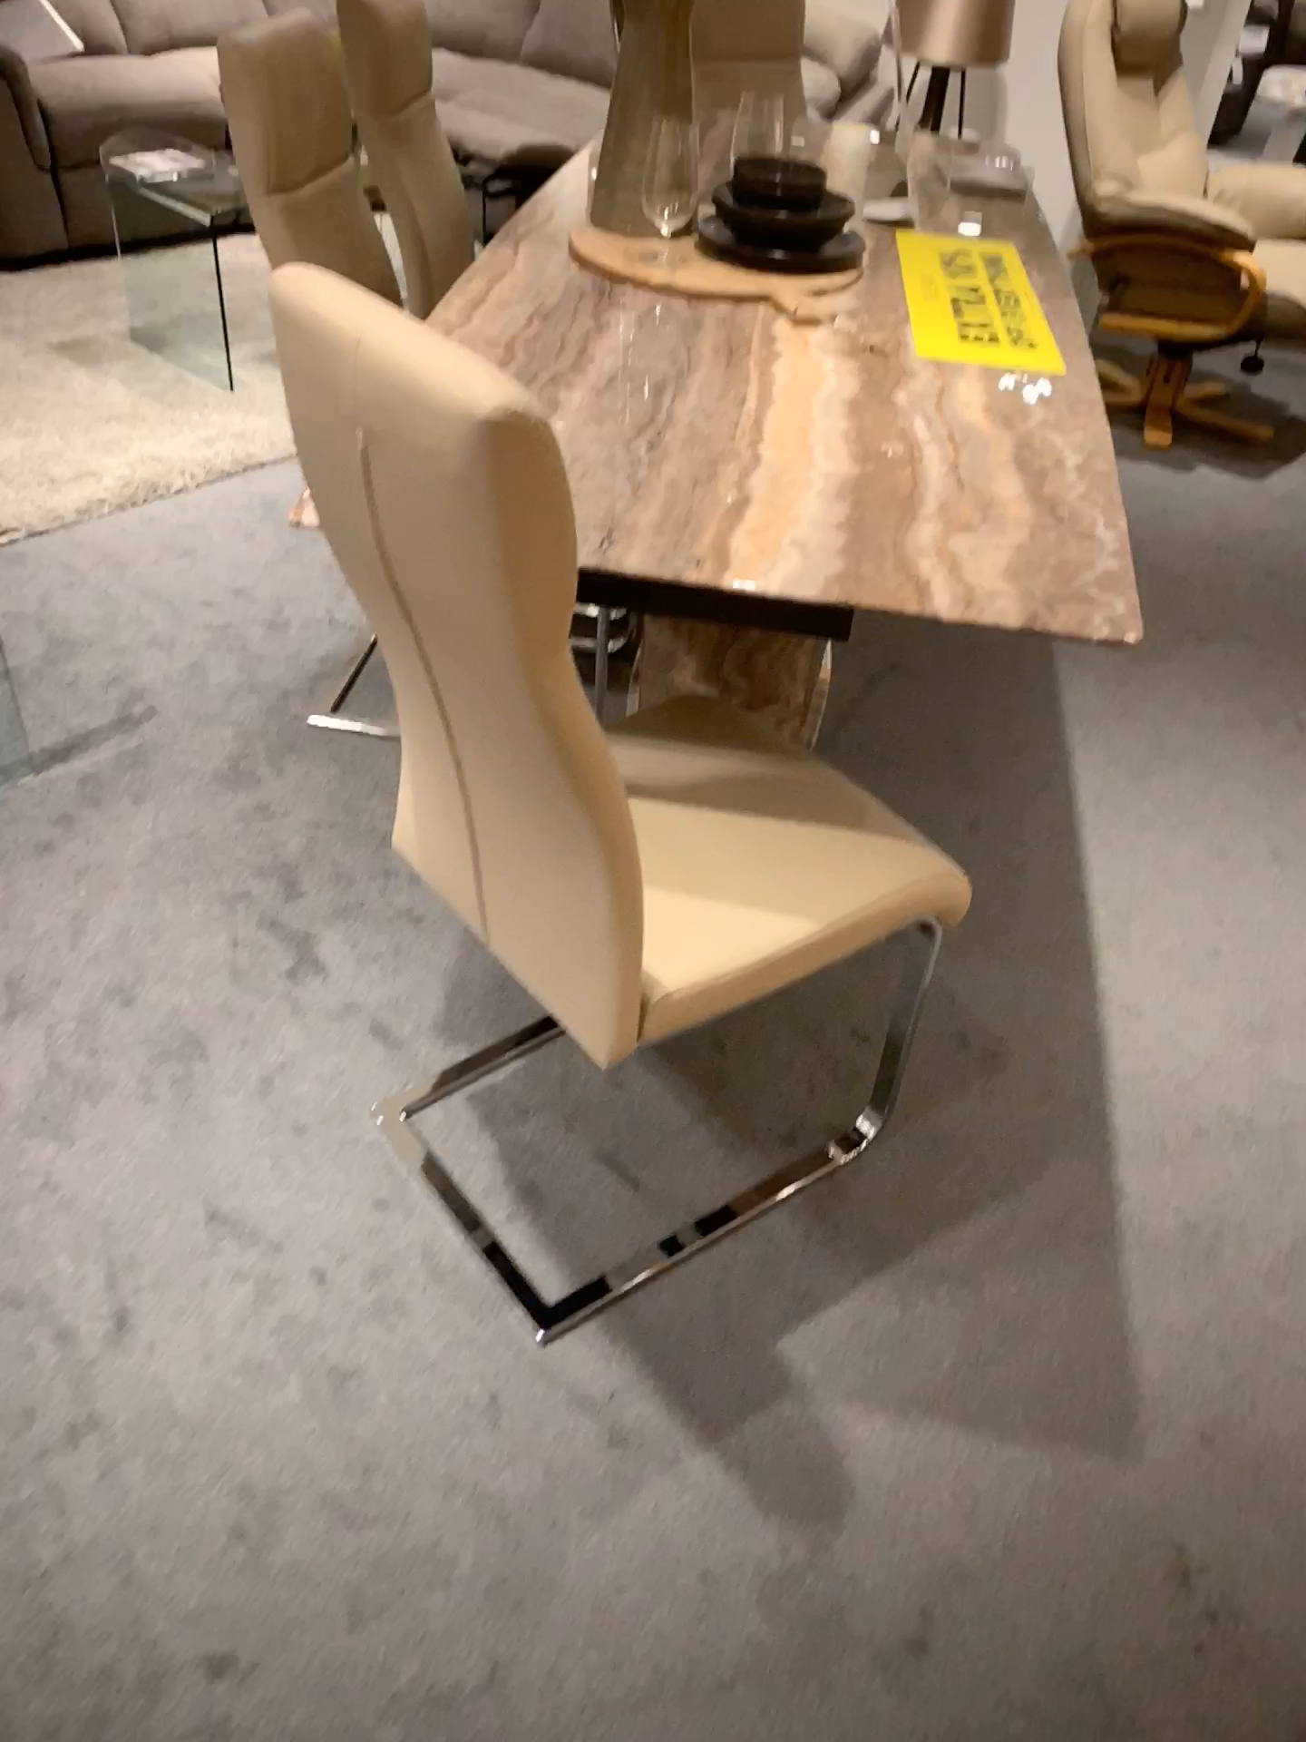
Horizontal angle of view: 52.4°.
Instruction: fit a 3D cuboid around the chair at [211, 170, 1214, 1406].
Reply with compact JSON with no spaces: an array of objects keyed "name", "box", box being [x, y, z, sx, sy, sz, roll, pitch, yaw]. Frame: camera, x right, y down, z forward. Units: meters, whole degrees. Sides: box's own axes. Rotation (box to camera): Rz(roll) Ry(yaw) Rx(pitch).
[{"name":"chair","box":[0.007,-0.085,1.340,0.585,0.982,0.530,-23,47,-31]}]
